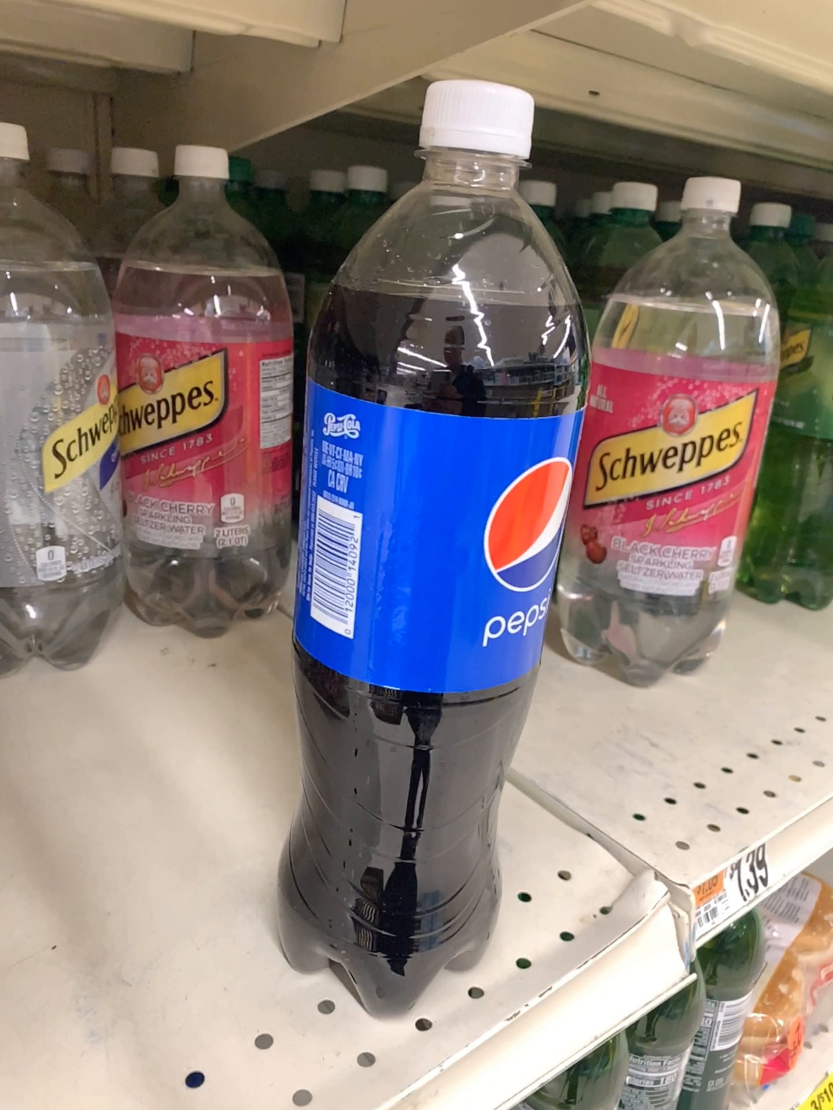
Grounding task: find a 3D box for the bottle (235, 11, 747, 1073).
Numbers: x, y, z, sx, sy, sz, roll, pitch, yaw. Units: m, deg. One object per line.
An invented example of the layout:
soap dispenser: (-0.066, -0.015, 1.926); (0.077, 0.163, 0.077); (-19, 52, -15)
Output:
bottle: (0.010, 0.003, 0.276); (0.101, 0.279, 0.090); (-12, 26, -39)
